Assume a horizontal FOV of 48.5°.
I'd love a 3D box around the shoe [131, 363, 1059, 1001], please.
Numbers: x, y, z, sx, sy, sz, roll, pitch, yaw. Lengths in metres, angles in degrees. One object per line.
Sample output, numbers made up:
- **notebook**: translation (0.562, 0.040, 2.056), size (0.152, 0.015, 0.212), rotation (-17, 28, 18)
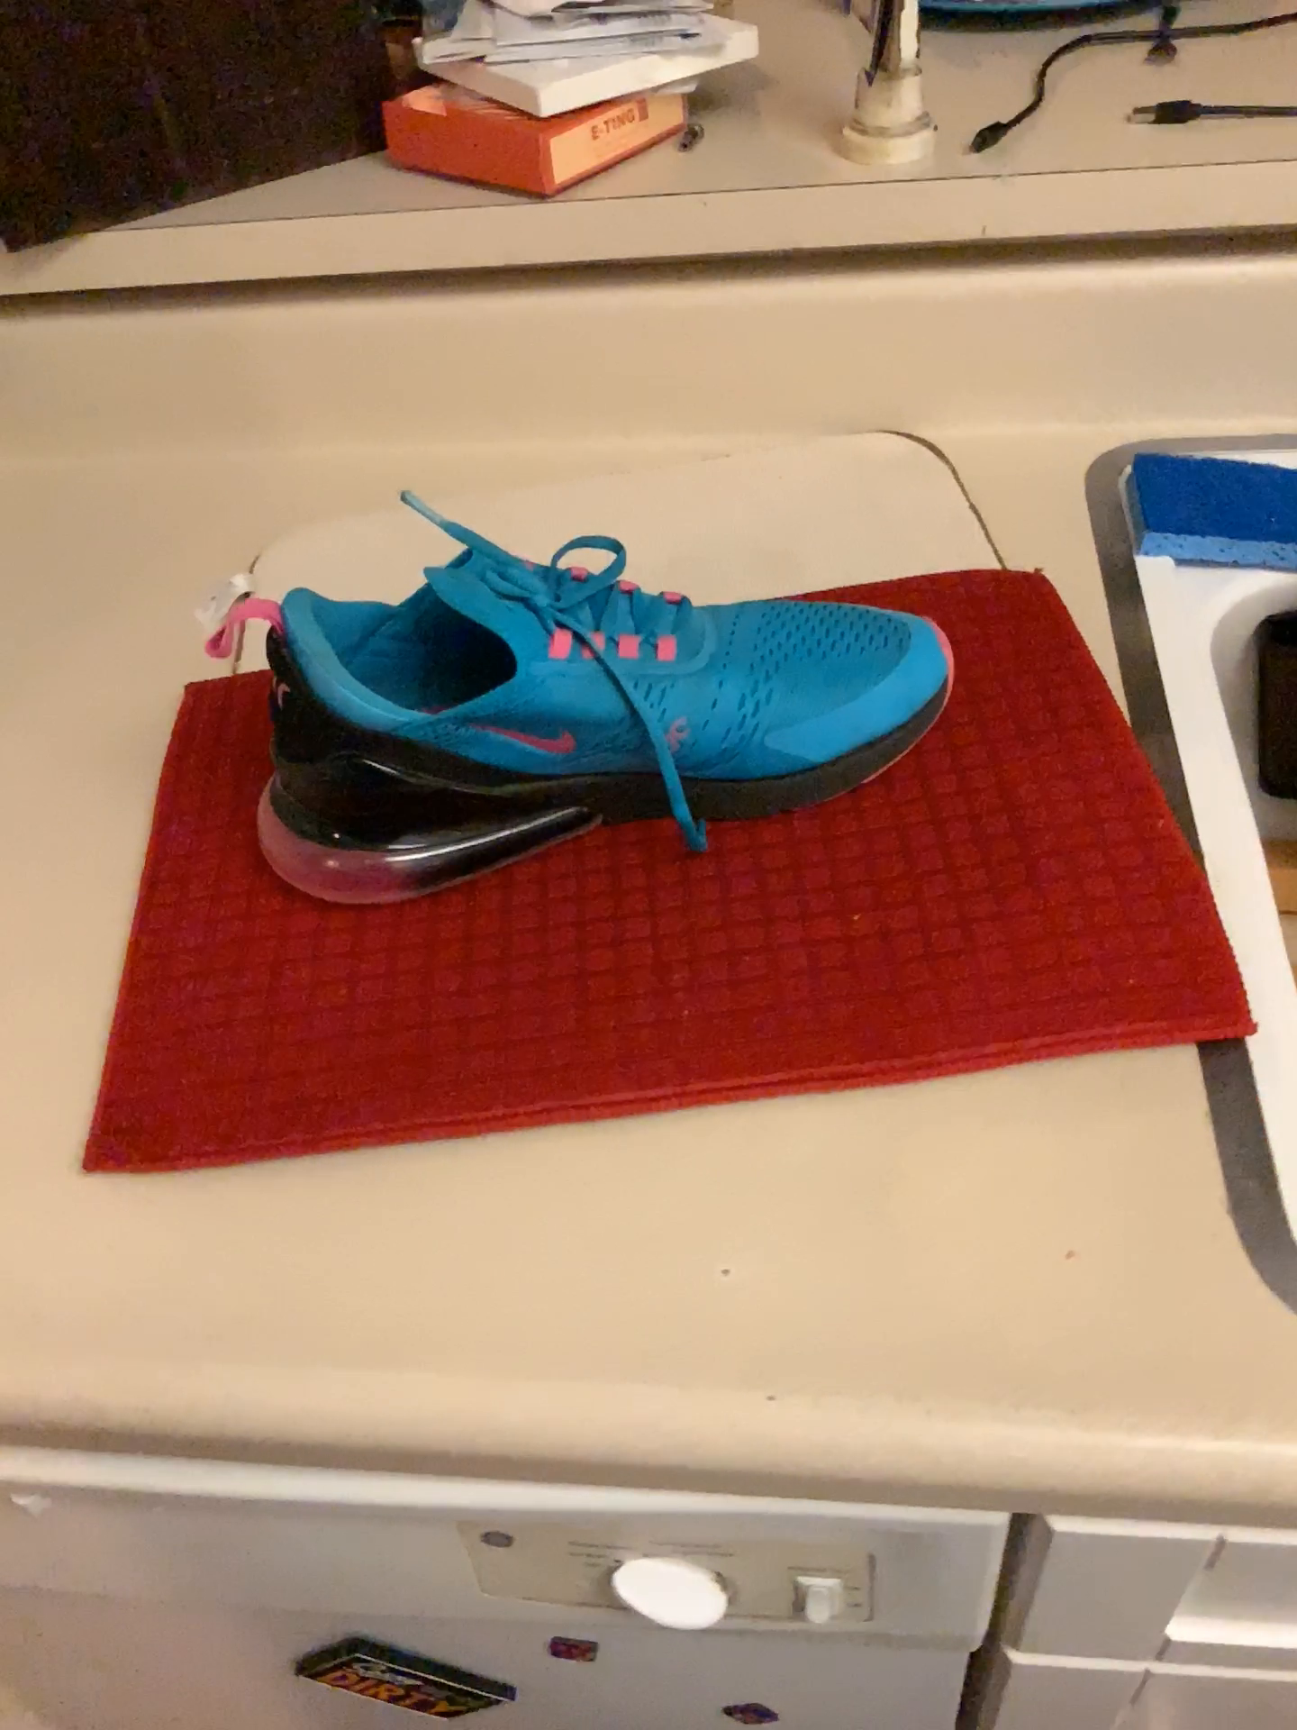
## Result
- **shoe**: translation (-0.025, -0.080, 0.596), size (0.330, 0.130, 0.150), rotation (-13, 46, -6)
